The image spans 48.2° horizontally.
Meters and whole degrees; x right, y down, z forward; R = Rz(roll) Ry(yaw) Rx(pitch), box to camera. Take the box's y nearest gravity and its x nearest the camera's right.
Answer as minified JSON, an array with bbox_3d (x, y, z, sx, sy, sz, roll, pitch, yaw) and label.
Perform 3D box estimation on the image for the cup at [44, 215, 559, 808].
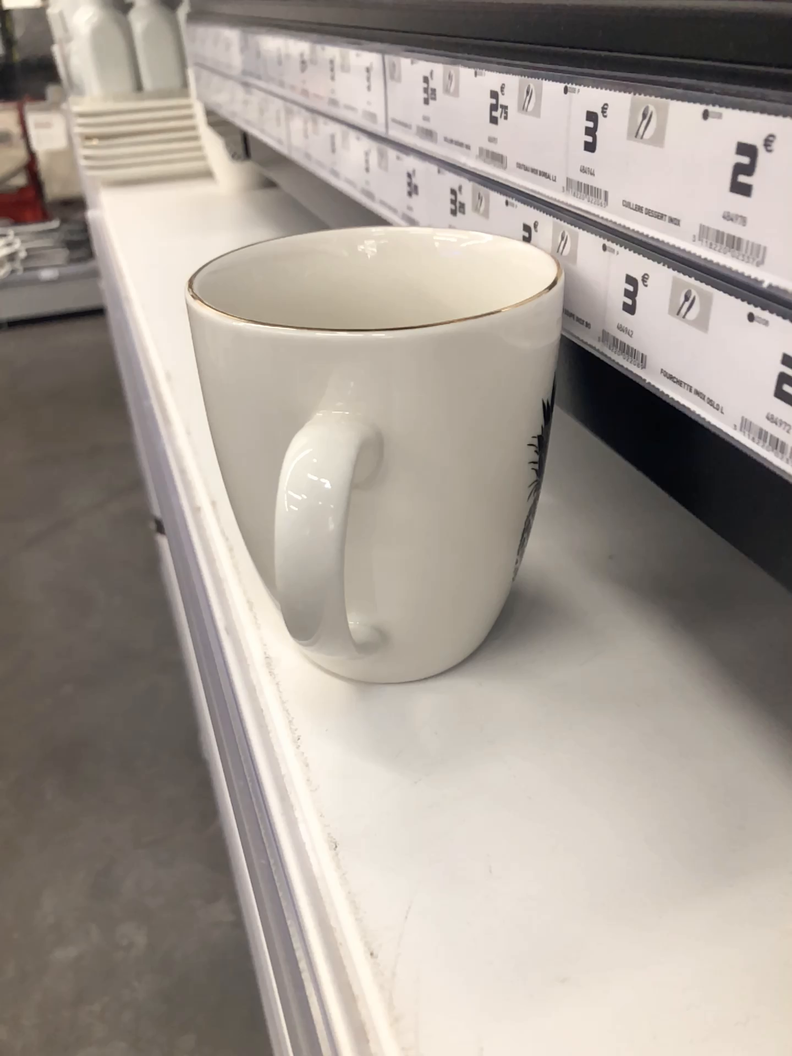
[{"bbox_3d":[-0.006,-0.014,0.213,0.082,0.093,0.115,2,31,11],"label":"cup"}]
